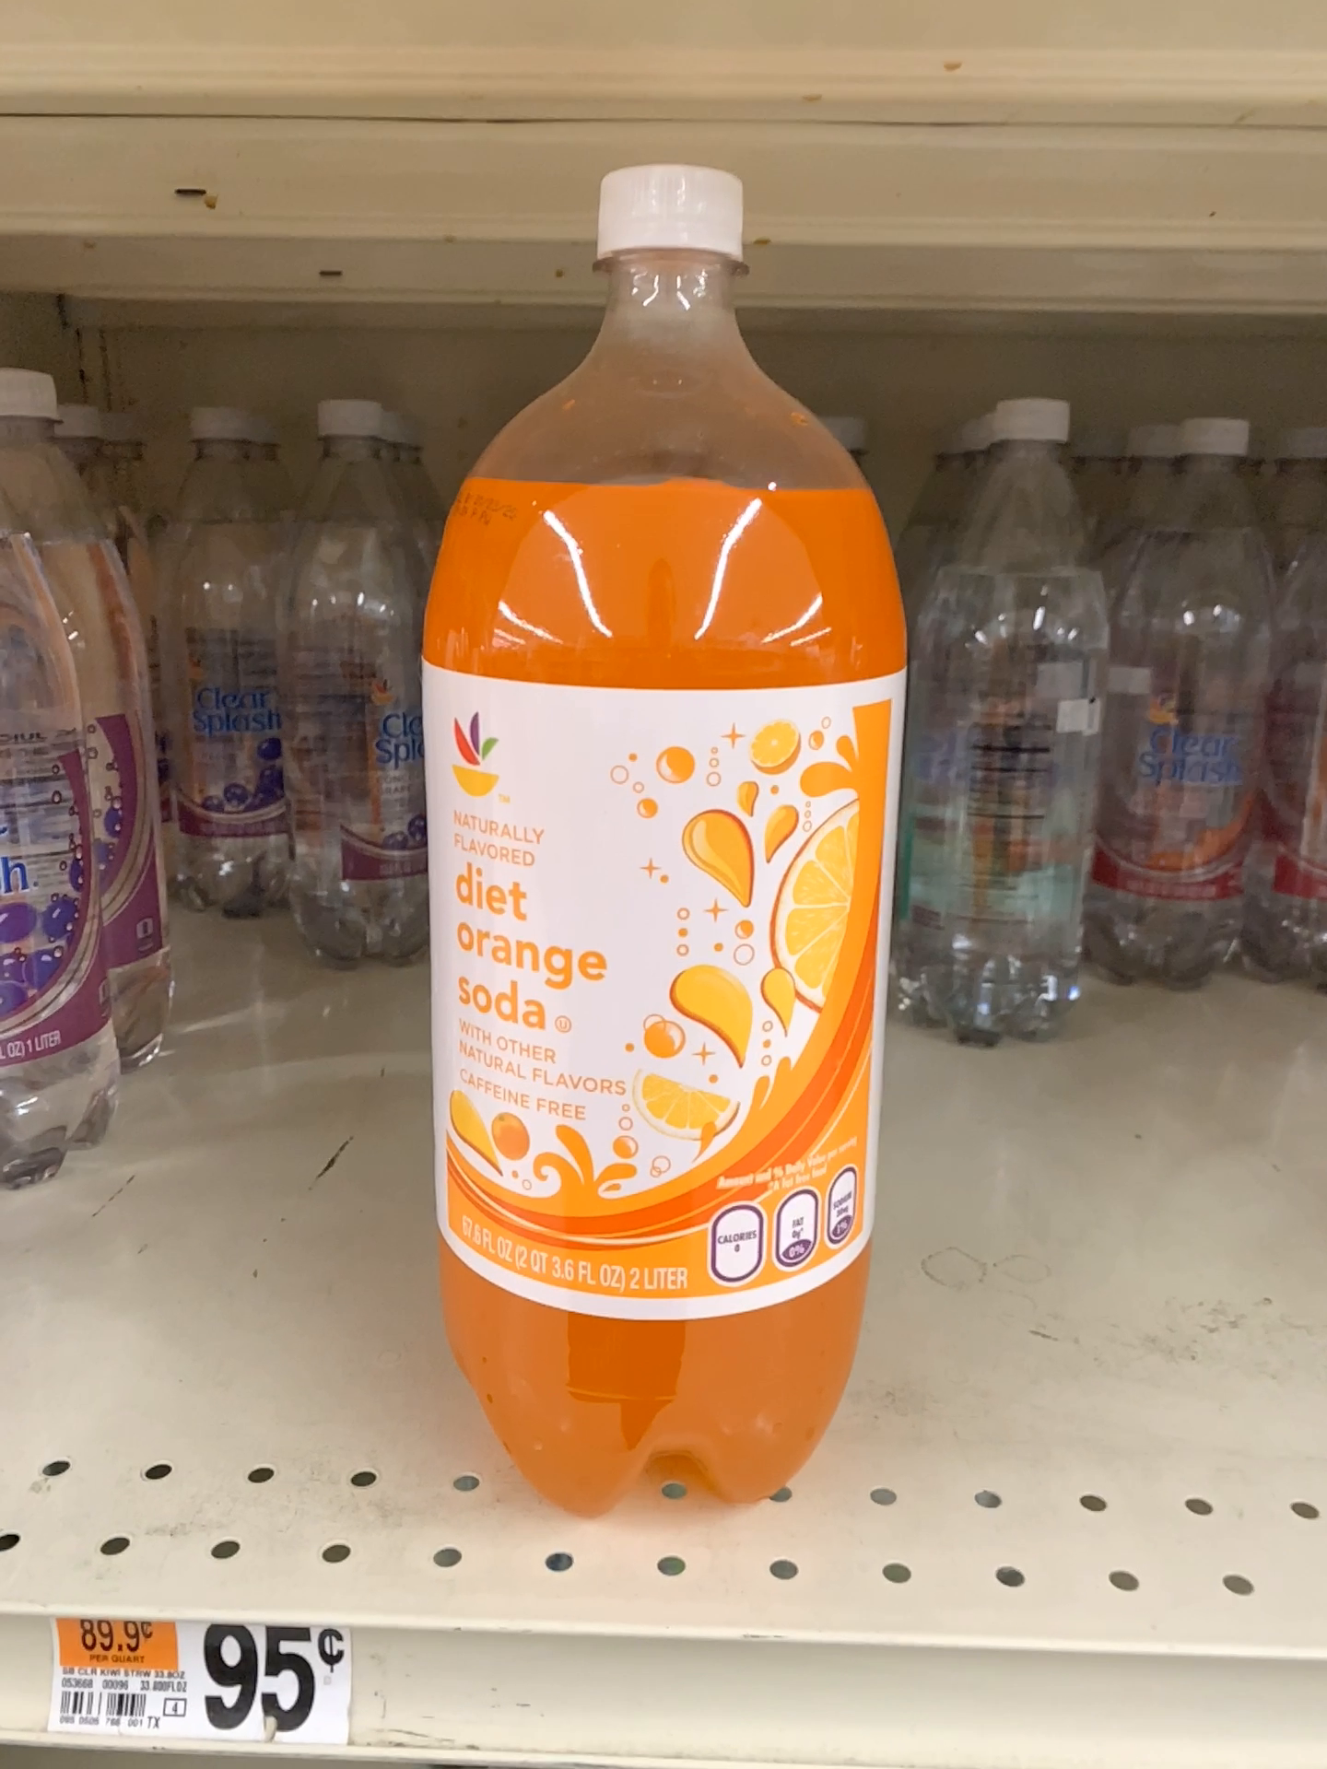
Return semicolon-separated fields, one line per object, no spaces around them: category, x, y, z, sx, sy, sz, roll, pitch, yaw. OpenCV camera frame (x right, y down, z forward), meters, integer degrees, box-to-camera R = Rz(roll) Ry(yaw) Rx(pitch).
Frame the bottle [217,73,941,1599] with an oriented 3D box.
bottle;-0.008;-0.006;0.313;0.120;0.289;0.110;1;16;0
